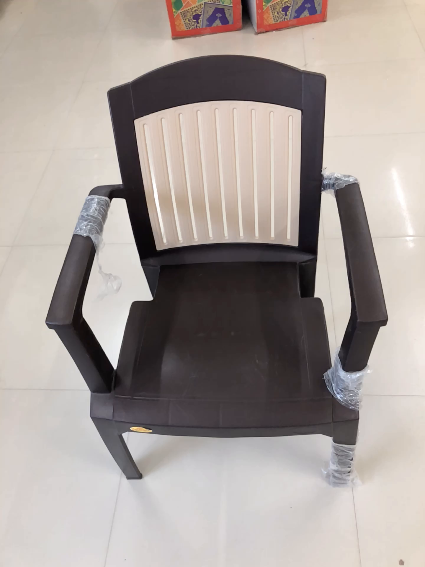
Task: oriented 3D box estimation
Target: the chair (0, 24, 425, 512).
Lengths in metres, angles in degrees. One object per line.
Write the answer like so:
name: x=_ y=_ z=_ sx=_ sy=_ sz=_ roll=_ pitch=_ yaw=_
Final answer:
chair: x=0.011 y=-0.011 z=0.868 sx=0.600 sy=0.557 sz=0.654 roll=-5 pitch=51 yaw=4
